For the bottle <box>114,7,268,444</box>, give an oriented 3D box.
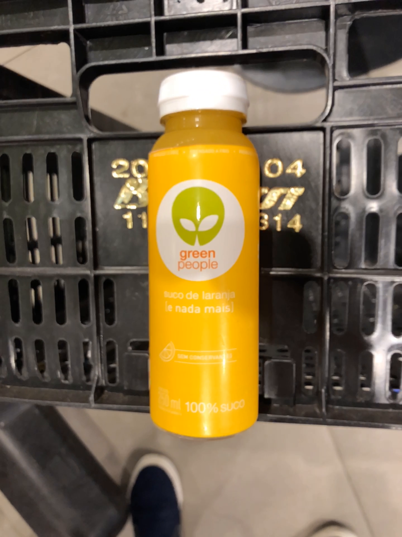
[{"bbox_3d":[0.000,-0.016,0.218,0.060,0.050,0.180,-1,95,11],"label":"bottle"}]
